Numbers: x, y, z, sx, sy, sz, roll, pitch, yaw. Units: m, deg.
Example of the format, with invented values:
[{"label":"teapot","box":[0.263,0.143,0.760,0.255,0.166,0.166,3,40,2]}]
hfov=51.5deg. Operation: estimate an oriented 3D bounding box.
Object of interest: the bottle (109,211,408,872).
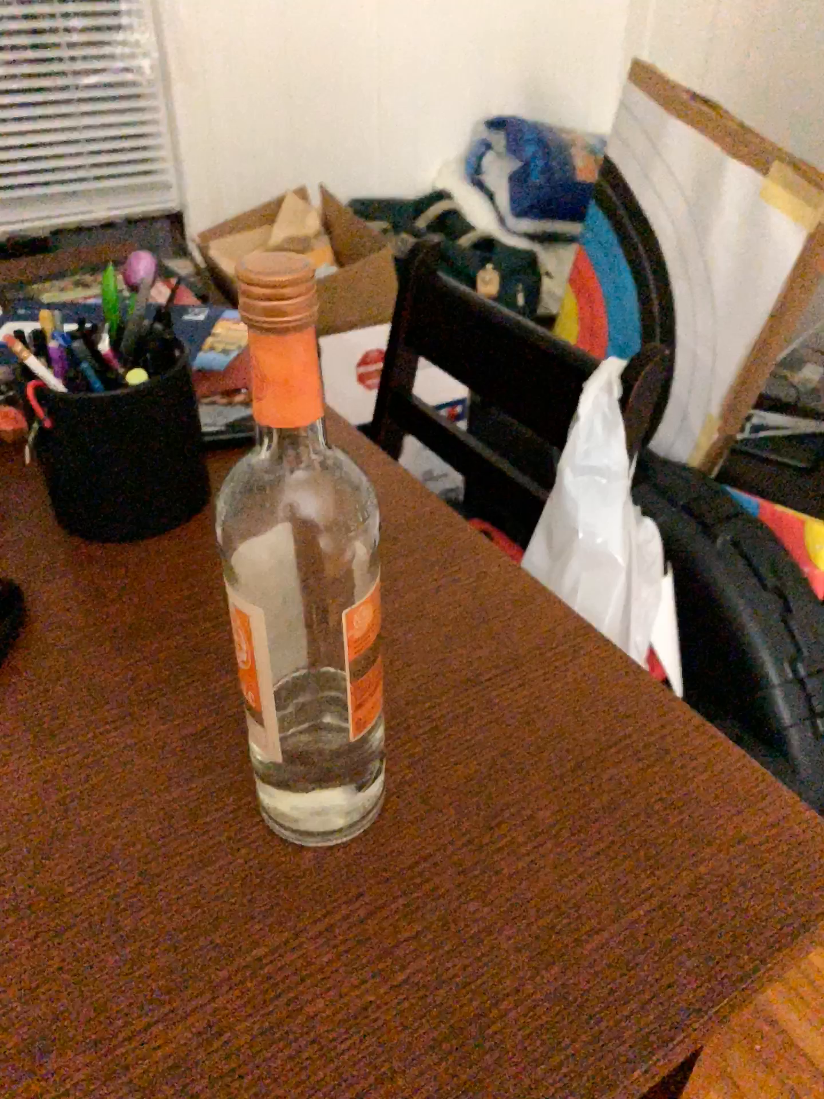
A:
[{"label":"bottle","box":[-0.050,0.015,0.390,0.080,0.298,0.090,6,37,8]}]
